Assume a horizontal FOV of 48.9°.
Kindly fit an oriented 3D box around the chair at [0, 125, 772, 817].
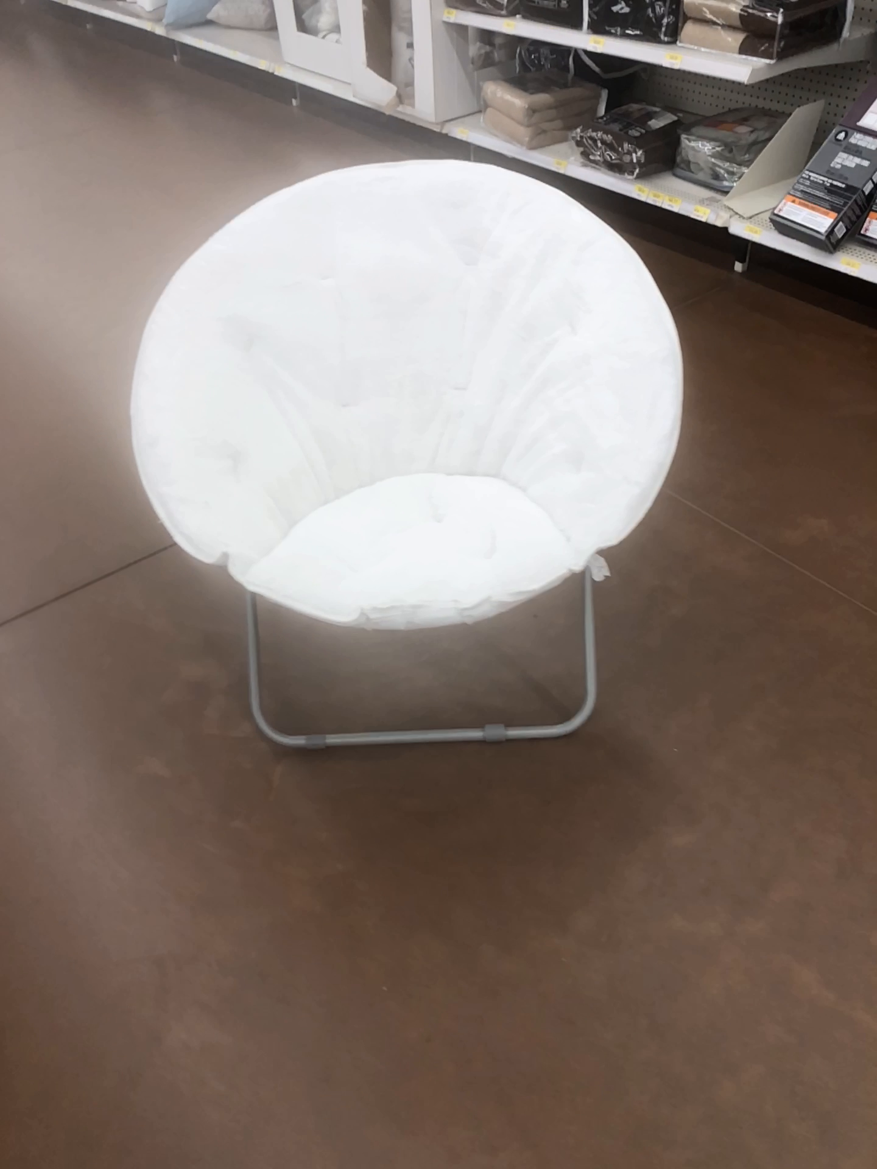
[{"bbox_3d":[-0.039,-0.184,1.409,0.760,0.647,0.753,-3,40,4],"label":"chair"}]
